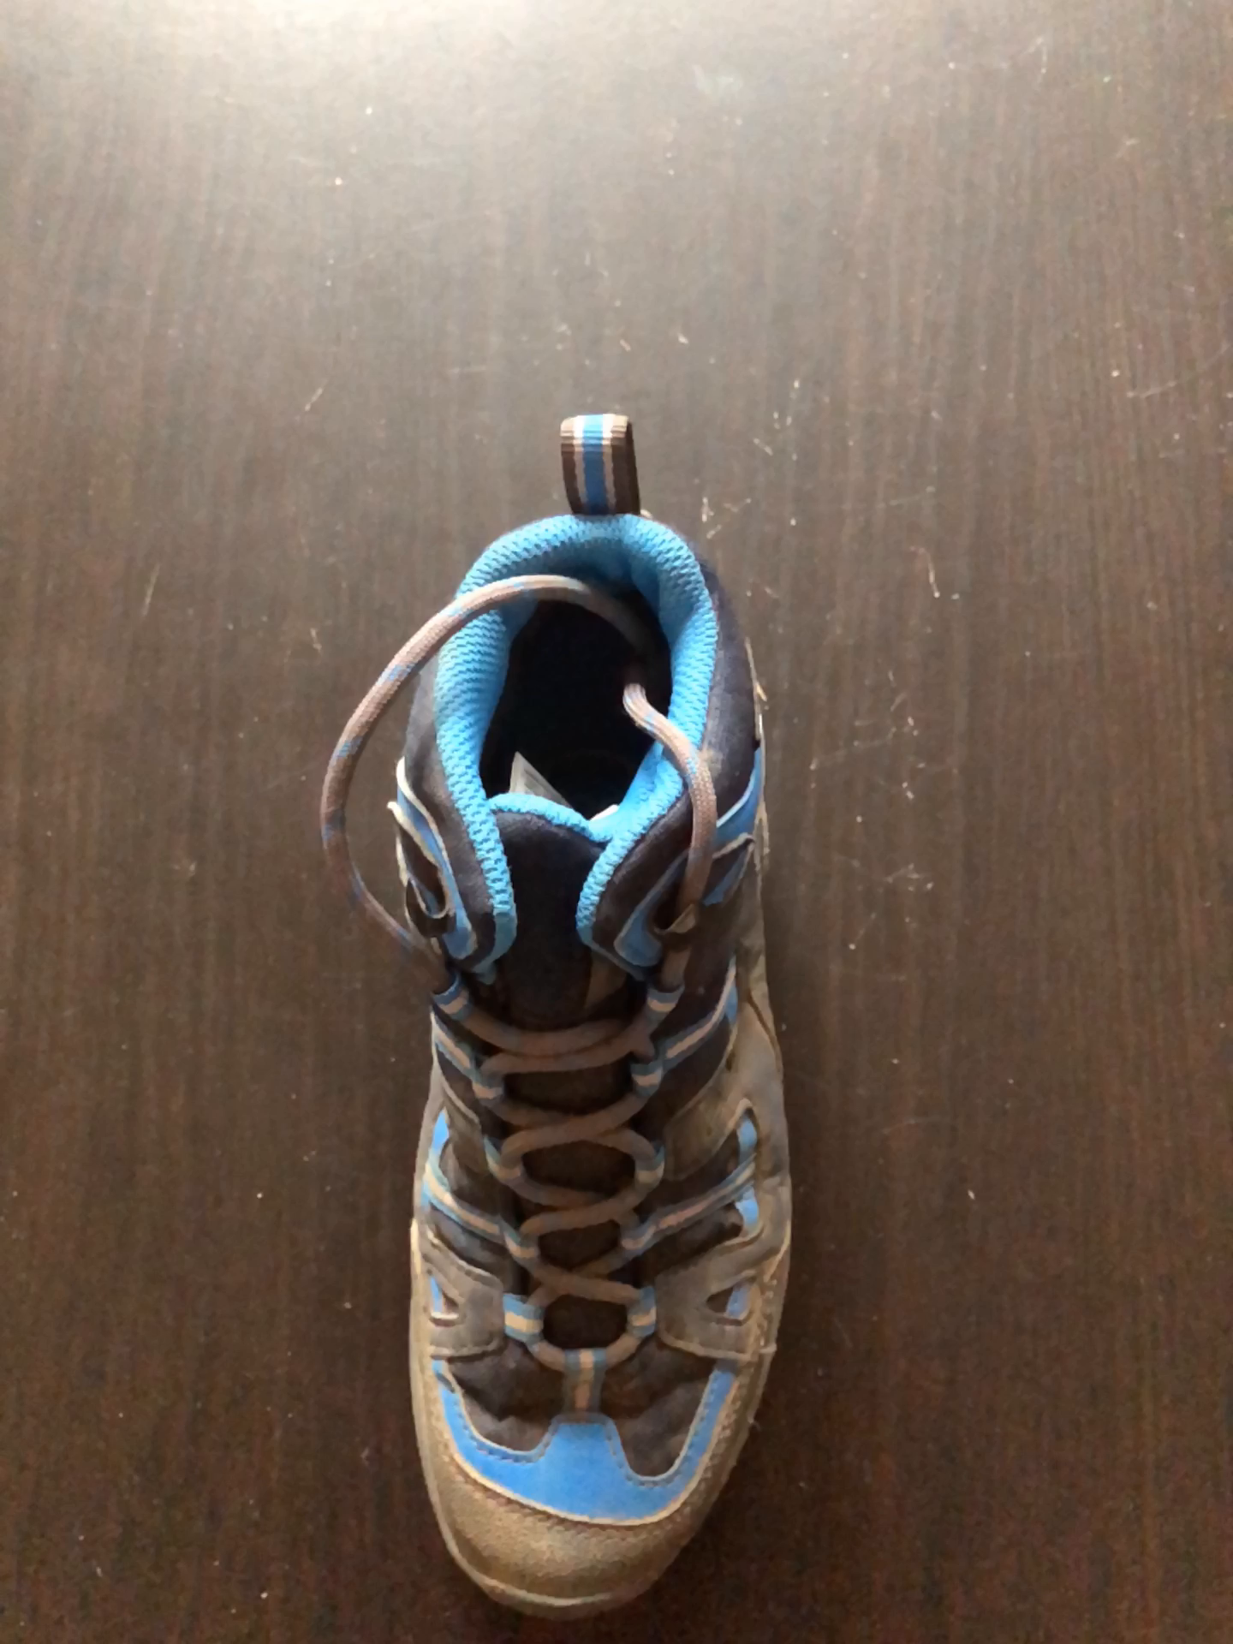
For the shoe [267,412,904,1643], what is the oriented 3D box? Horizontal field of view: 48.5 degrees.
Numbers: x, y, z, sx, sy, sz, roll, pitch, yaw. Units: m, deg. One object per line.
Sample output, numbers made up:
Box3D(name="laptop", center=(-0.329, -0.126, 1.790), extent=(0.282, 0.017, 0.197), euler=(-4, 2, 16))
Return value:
Box3D(name="shoe", center=(-0.001, 0.057, 0.299), extent=(0.100, 0.120, 0.250), euler=(3, 82, 0))
